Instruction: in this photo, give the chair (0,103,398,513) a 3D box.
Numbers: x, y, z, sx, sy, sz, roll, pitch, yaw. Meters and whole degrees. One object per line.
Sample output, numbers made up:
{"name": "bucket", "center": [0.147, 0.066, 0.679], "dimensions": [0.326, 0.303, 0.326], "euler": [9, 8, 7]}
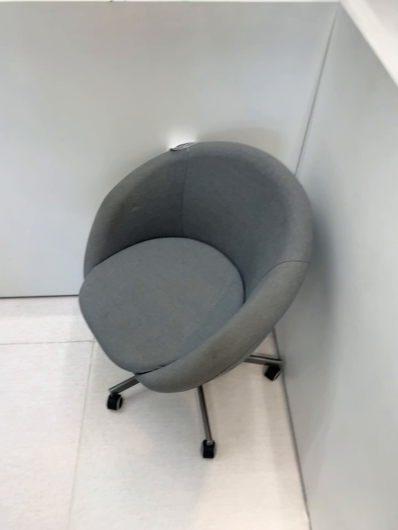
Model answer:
{"name": "chair", "center": [0.002, 0.119, 1.320], "dimensions": [0.831, 0.767, 0.721], "euler": [-34, 59, -25]}
